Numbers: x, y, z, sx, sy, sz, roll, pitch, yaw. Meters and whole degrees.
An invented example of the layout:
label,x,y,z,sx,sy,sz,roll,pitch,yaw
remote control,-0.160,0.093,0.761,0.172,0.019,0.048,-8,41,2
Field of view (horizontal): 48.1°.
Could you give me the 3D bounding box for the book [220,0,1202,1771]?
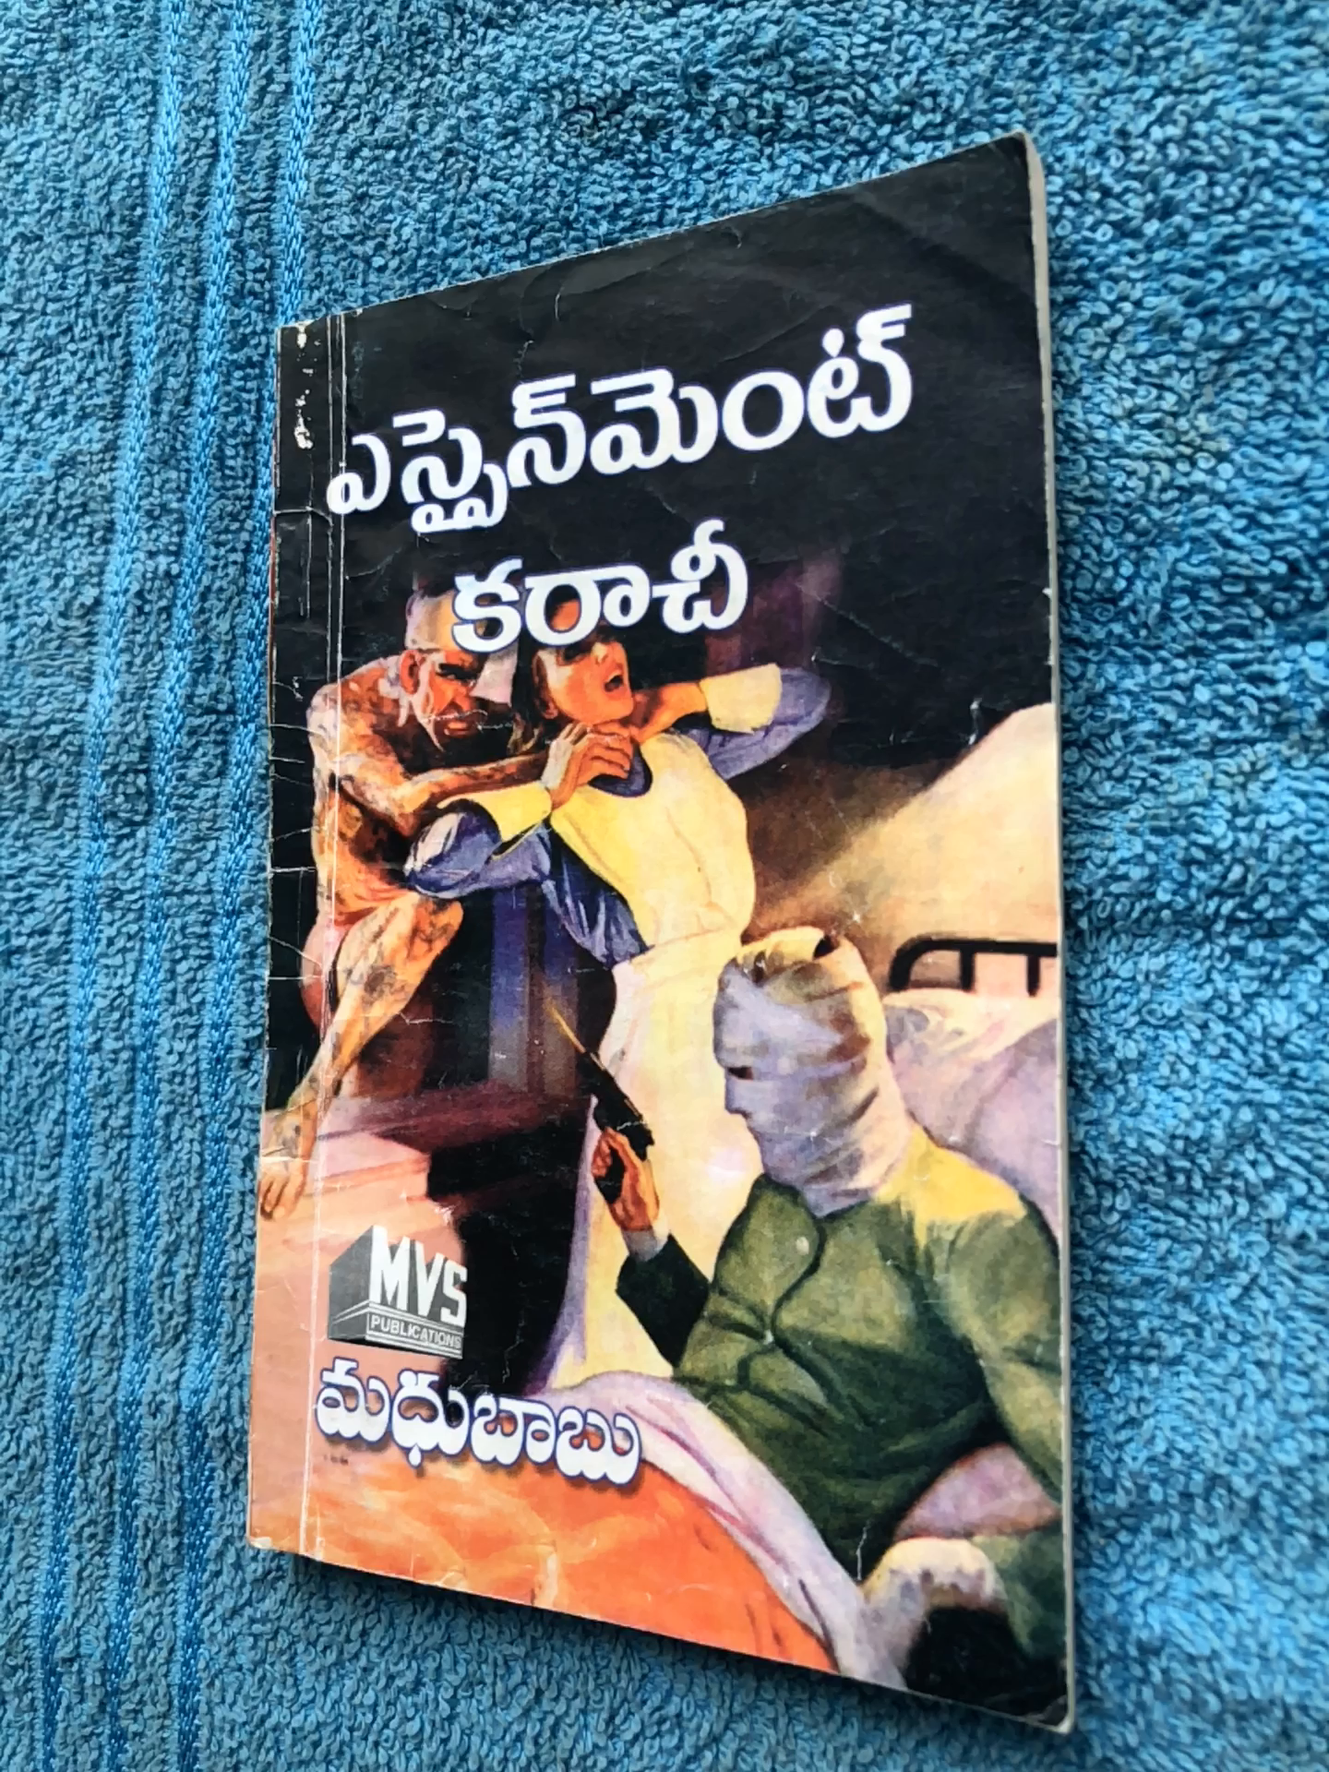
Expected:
label,x,y,z,sx,sy,sz,roll,pitch,yaw
book,0.000,0.000,0.171,0.110,0.020,0.170,-2,85,26
